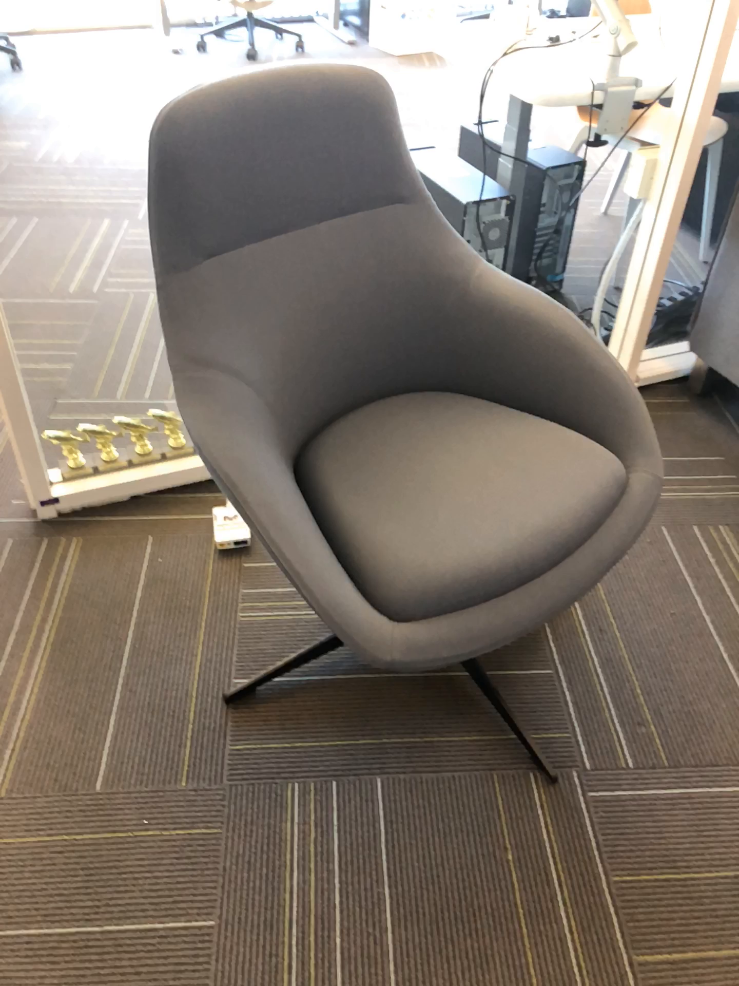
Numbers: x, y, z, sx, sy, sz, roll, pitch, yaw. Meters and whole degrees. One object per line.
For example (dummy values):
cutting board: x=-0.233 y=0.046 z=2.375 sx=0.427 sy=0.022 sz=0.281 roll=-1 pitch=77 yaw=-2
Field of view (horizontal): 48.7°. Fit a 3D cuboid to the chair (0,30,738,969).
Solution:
chair: x=0.068 y=-0.100 z=1.412 sx=0.931 sy=0.995 sz=0.963 roll=-26 pitch=48 yaw=-30
